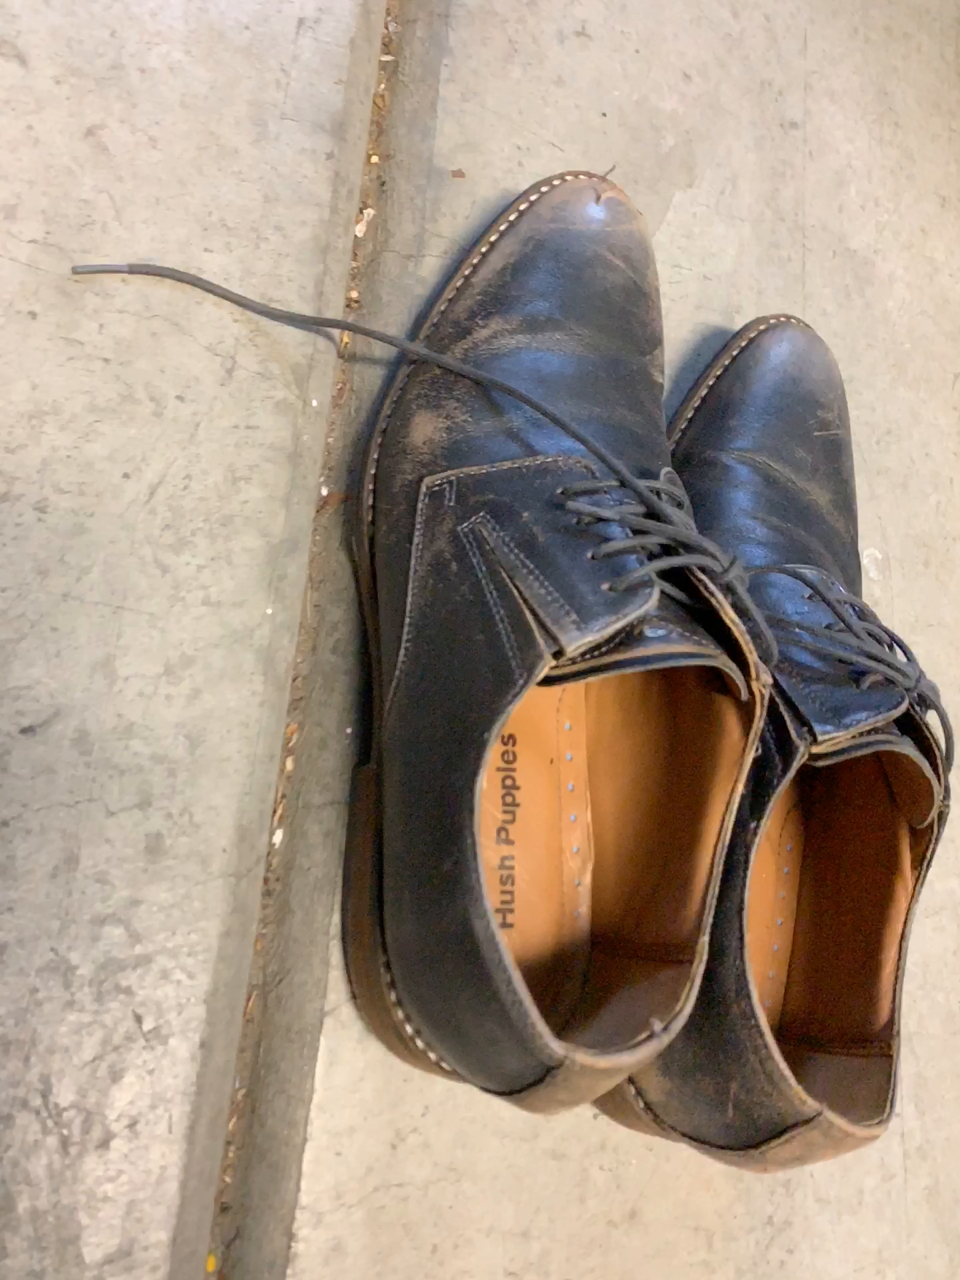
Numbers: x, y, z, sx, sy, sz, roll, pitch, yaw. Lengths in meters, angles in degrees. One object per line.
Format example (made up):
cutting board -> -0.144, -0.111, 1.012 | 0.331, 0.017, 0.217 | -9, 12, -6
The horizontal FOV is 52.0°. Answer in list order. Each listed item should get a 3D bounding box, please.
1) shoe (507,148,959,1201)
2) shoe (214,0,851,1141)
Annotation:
shoe -> 0.113, 0.009, 0.350 | 0.110, 0.119, 0.305 | 19, 71, -25
shoe -> 0.022, -0.031, 0.308 | 0.110, 0.119, 0.311 | 17, 72, -26
